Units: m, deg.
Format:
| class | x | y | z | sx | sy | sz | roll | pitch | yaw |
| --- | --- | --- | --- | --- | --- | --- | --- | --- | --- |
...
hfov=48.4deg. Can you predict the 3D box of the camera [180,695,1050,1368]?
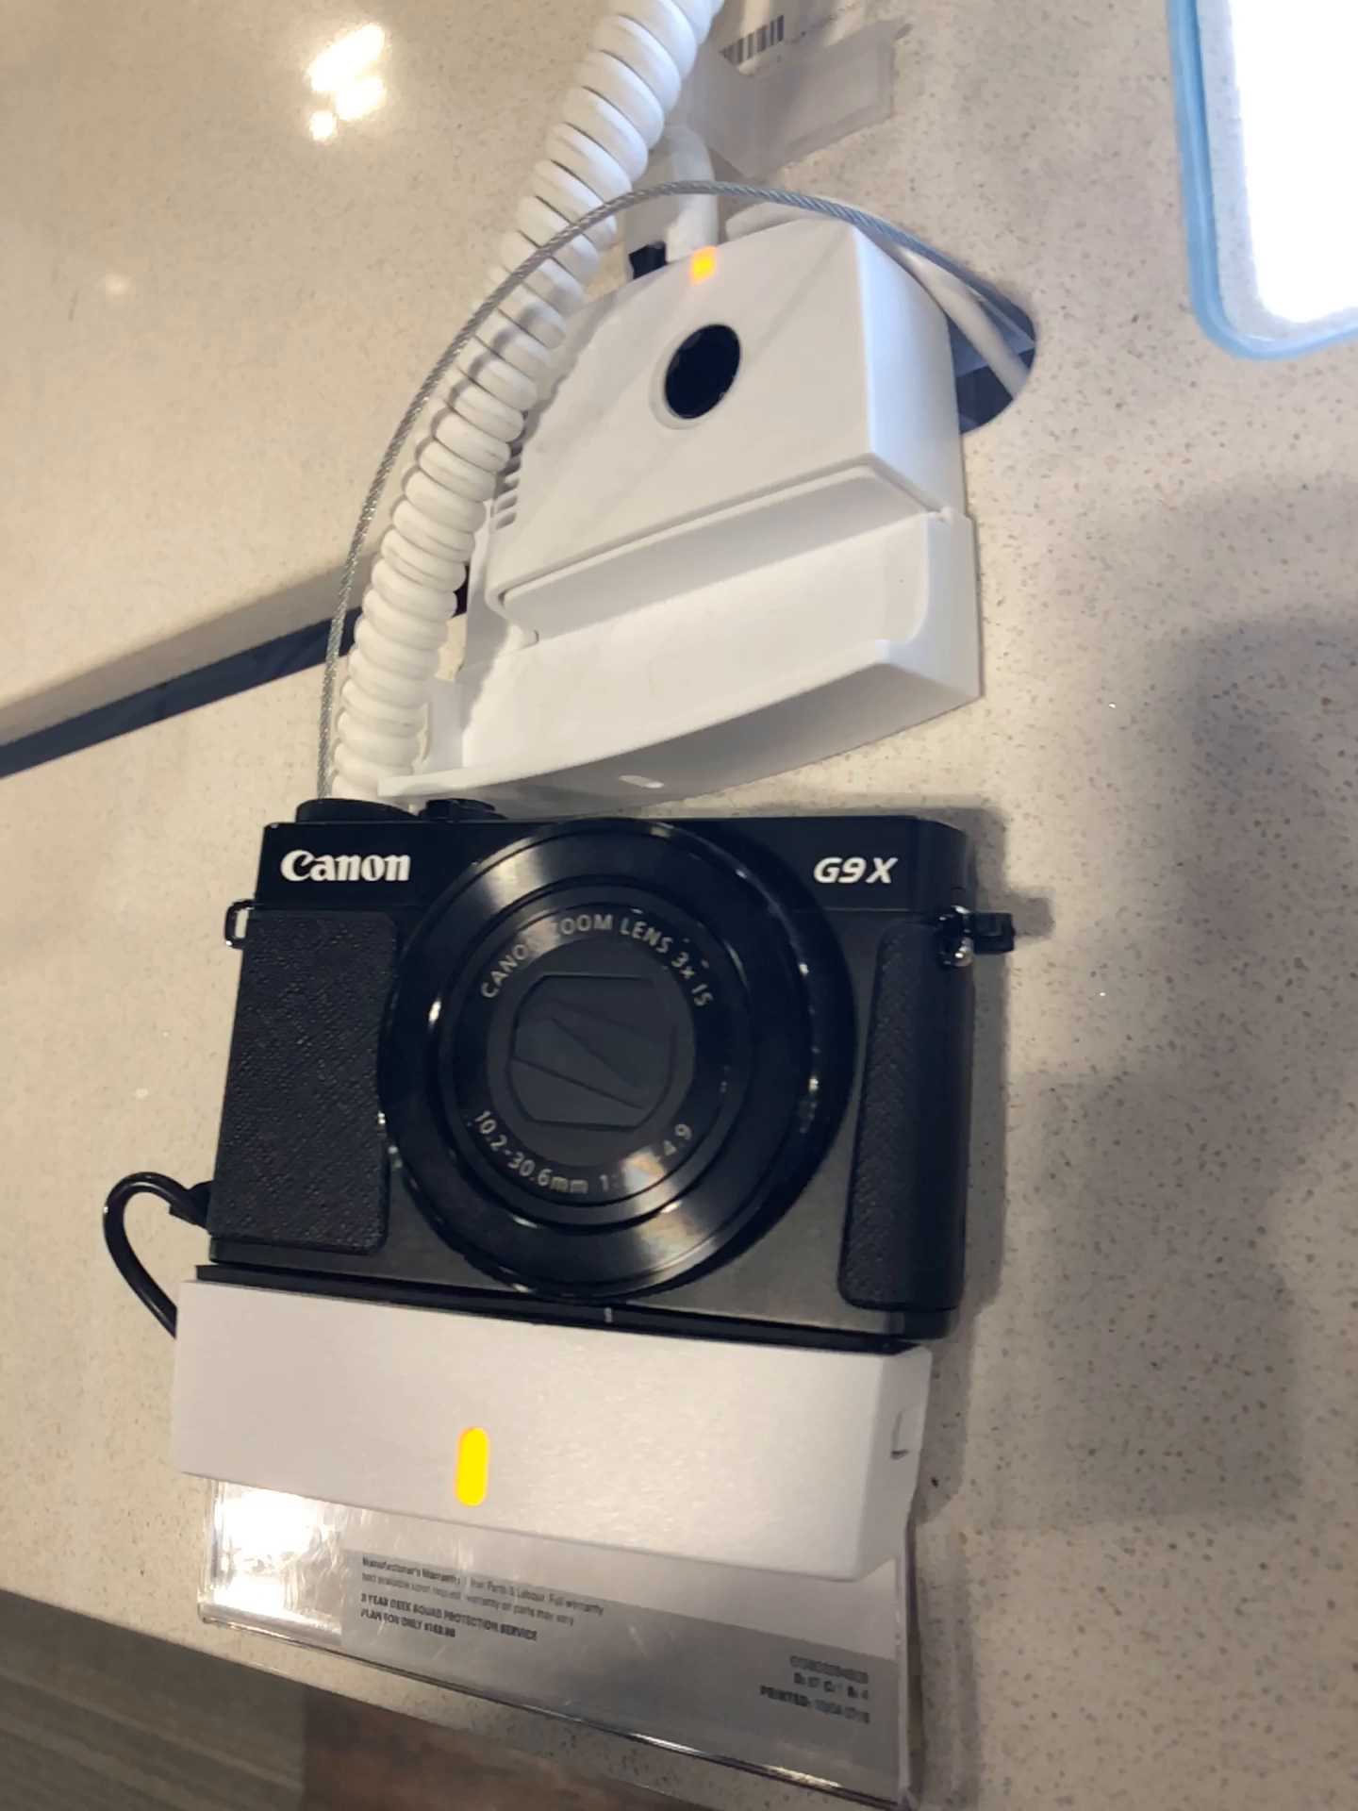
| class | x | y | z | sx | sy | sz | roll | pitch | yaw |
| --- | --- | --- | --- | --- | --- | --- | --- | --- | --- |
| camera | -0.008 | 0.014 | 0.183 | 0.100 | 0.020 | 0.070 | 0 | 78 | 21 |
